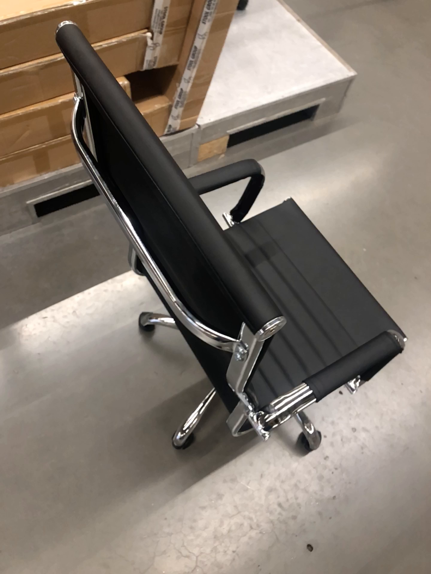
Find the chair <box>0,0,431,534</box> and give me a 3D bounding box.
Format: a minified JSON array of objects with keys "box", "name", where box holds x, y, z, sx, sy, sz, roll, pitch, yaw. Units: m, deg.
[{"box":[0.139,-0.027,1.079,0.742,1.095,0.671,-25,64,-21],"name":"chair"}]
